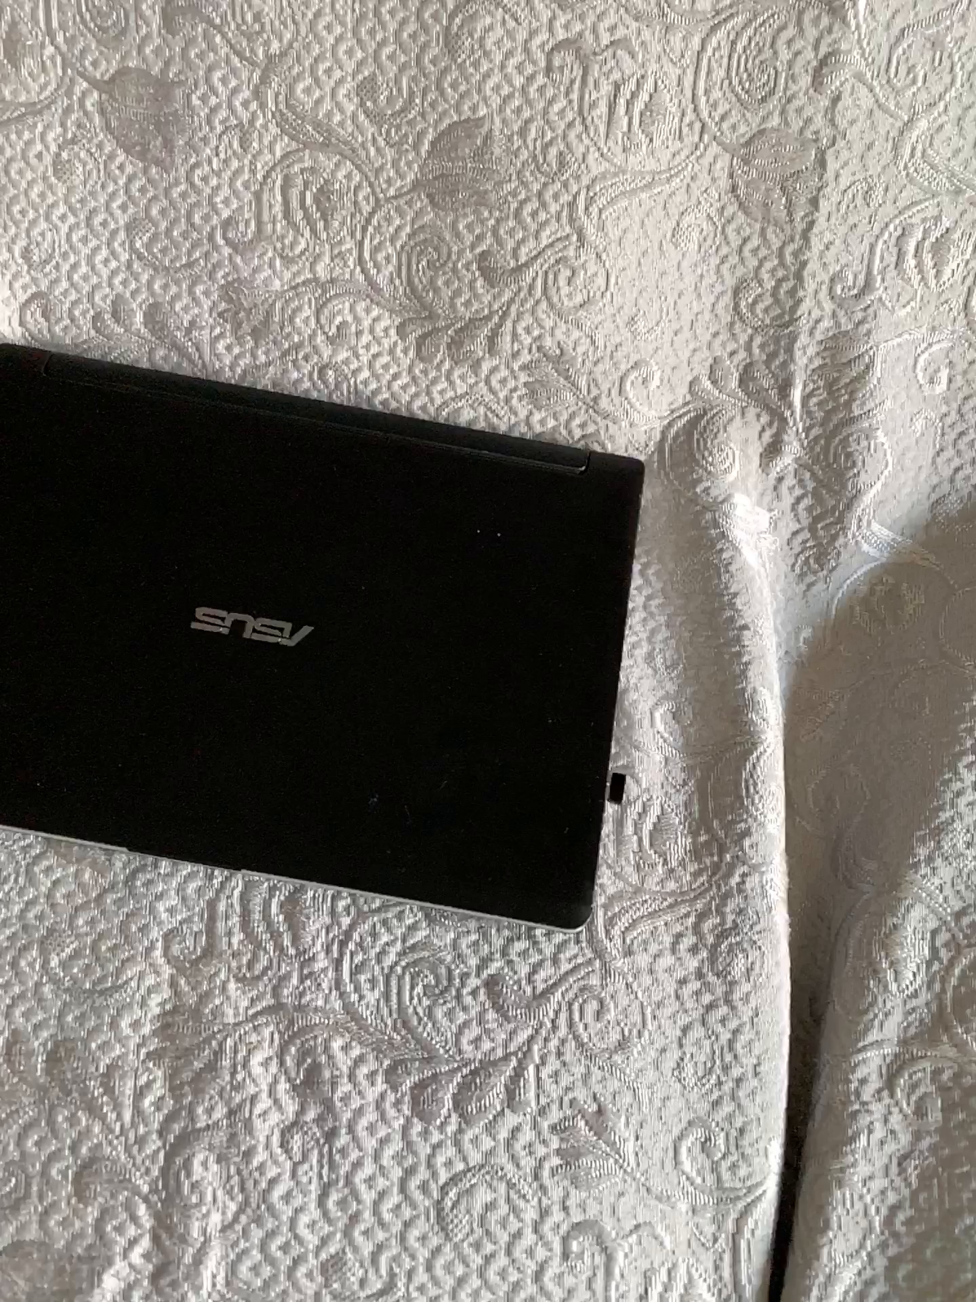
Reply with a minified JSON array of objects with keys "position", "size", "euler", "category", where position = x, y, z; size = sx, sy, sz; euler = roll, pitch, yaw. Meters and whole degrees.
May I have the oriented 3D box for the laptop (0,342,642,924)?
[{"position":[-0.105,-0.021,0.461],"size":[0.333,0.001,0.232],"euler":[11,66,-1],"category":"laptop"}]
